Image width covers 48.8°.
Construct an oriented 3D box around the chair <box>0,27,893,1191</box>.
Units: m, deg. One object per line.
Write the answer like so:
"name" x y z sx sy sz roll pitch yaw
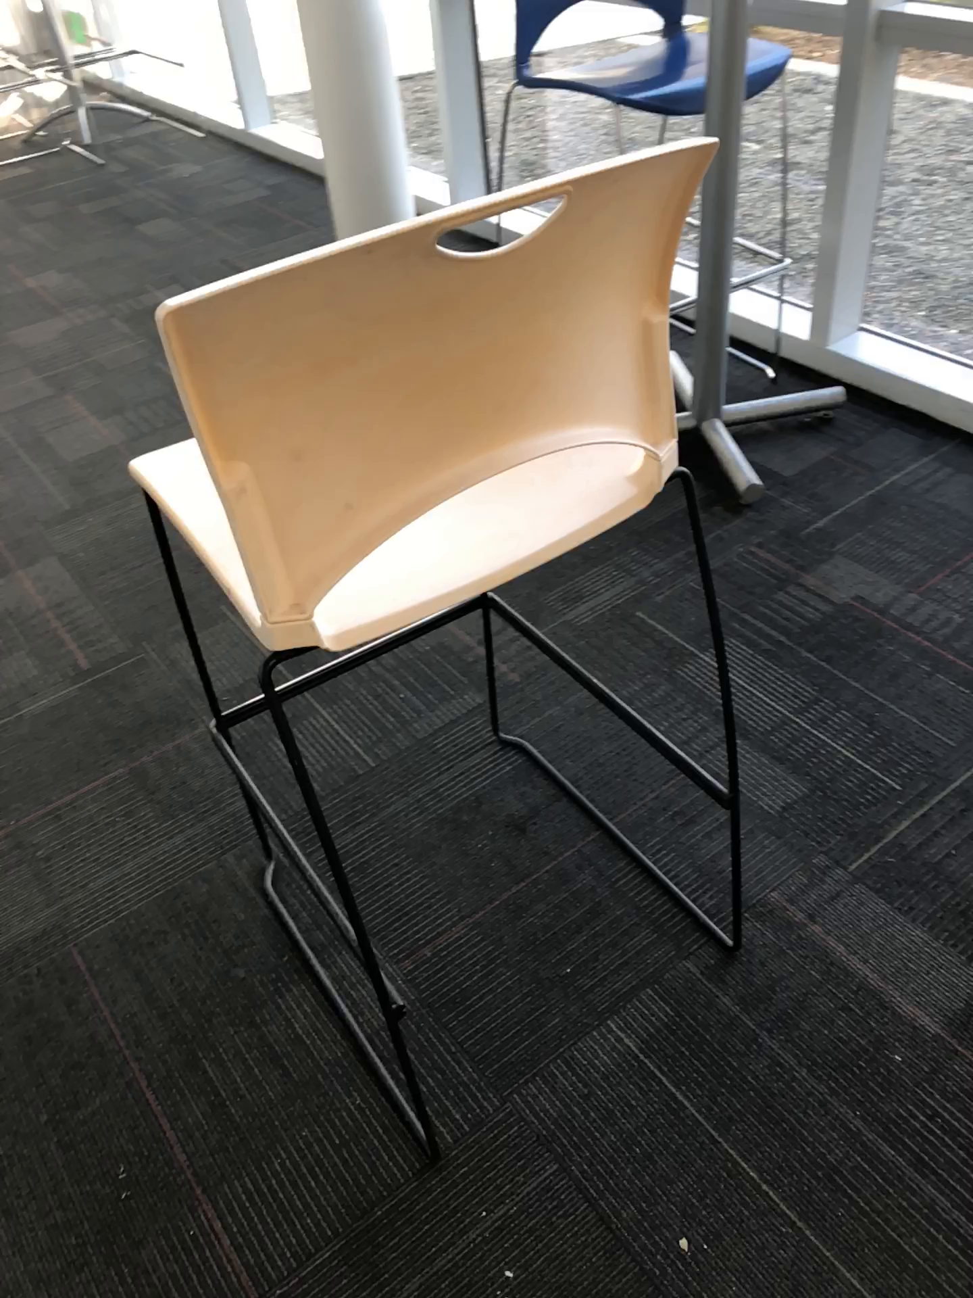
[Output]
"chair" -0.089 -0.067 1.252 0.580 0.995 0.723 -27 43 -22
